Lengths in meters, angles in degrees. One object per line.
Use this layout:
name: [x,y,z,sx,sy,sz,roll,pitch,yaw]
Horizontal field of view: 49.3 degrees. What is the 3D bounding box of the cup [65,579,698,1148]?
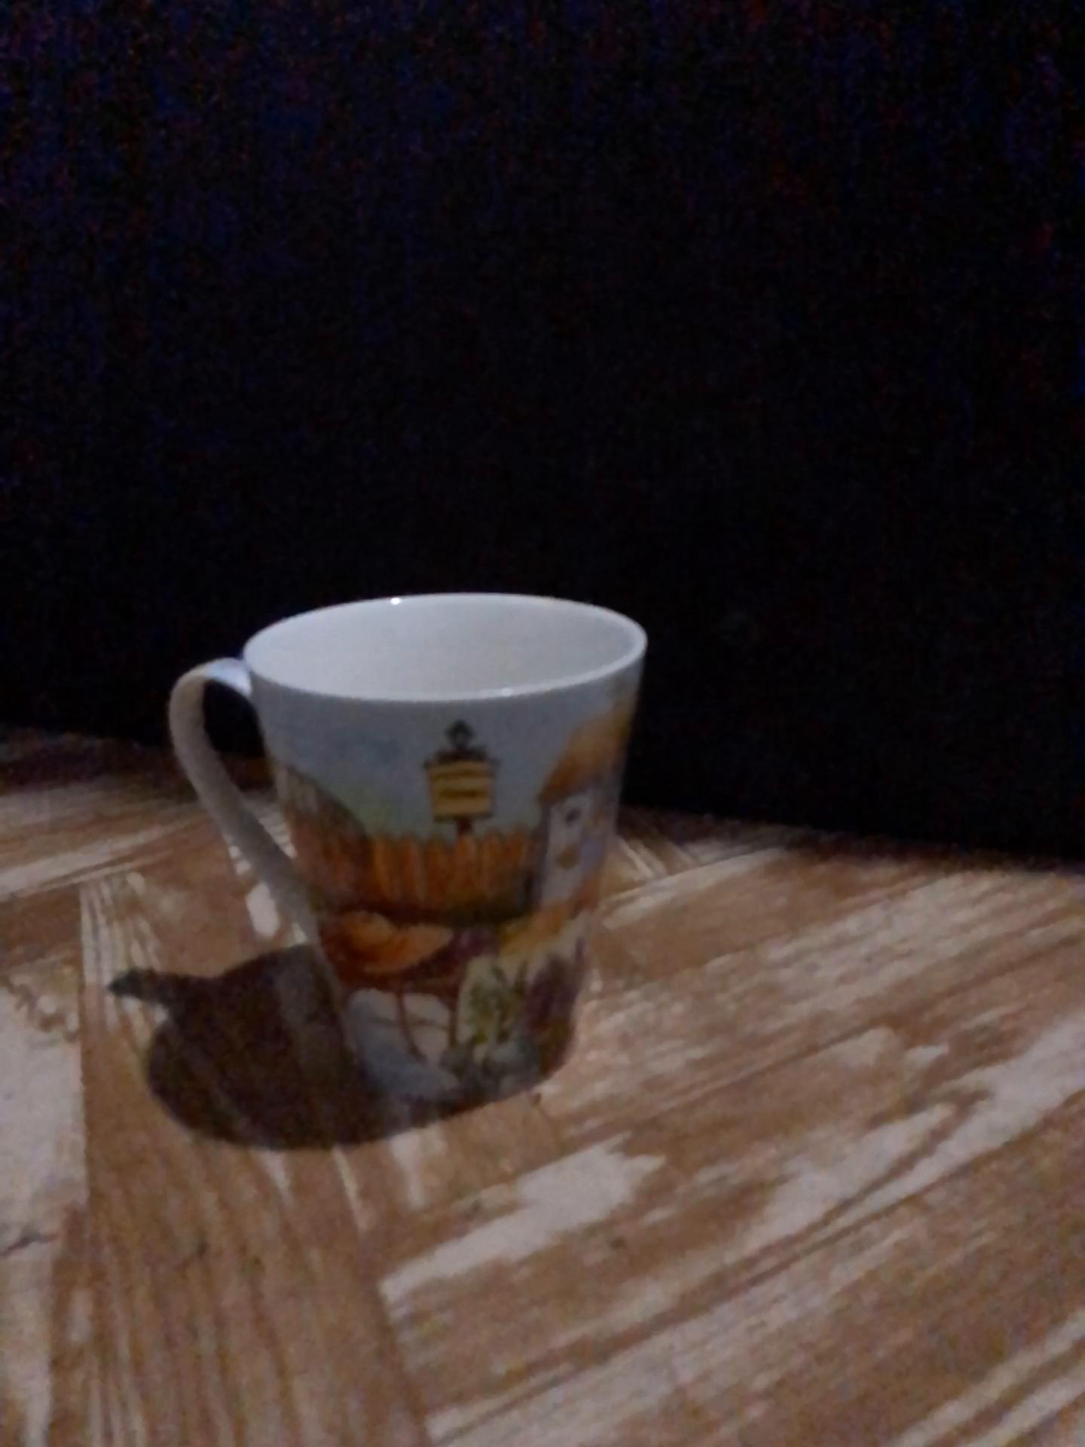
cup: [-0.027,0.023,0.264,0.111,0.090,0.080,4,19,15]
